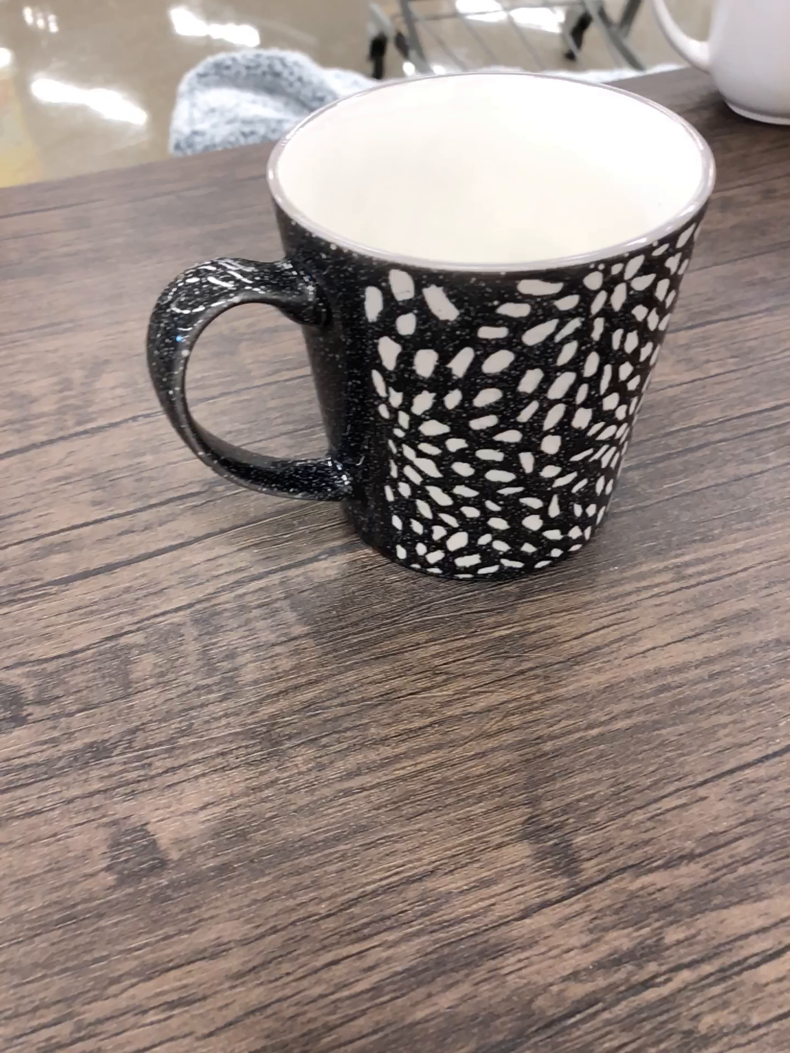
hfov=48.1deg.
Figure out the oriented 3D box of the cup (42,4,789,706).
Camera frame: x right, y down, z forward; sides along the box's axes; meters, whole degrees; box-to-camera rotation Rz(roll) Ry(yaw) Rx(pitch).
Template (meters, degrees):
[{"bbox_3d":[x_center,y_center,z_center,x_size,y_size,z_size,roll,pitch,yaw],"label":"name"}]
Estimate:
[{"bbox_3d":[0.009,-0.049,0.221,0.140,0.100,0.100,-22,49,-17],"label":"cup"}]
